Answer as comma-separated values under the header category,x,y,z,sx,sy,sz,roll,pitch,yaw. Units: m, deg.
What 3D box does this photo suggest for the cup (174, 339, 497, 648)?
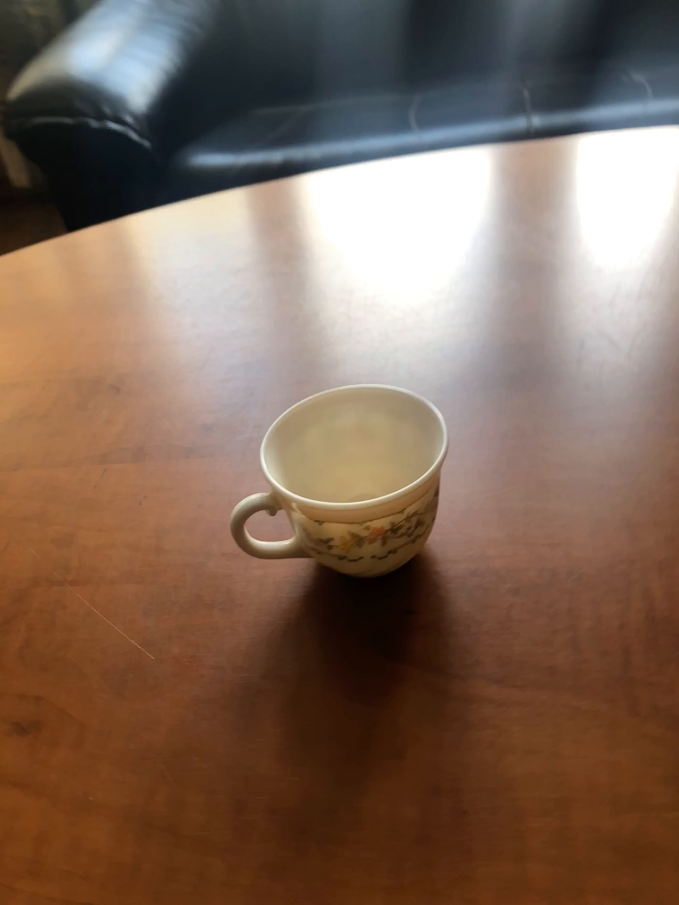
category,x,y,z,sx,sy,sz,roll,pitch,yaw
cup,-0.001,0.010,0.251,0.083,0.048,0.063,-22,41,-14
